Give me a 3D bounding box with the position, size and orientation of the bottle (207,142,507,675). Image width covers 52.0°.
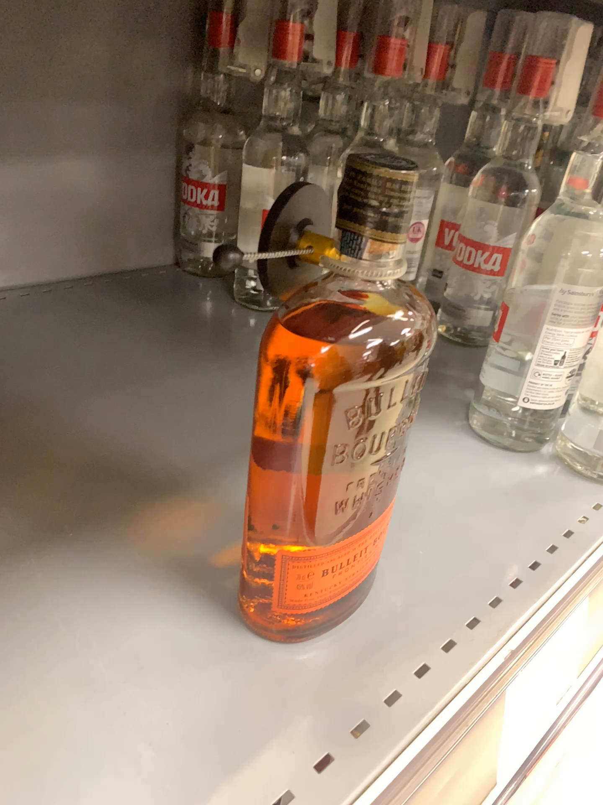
[{"bbox_3d":[0.017,0.005,0.294,0.060,0.228,0.101,28,35,31],"label":"bottle"}]
